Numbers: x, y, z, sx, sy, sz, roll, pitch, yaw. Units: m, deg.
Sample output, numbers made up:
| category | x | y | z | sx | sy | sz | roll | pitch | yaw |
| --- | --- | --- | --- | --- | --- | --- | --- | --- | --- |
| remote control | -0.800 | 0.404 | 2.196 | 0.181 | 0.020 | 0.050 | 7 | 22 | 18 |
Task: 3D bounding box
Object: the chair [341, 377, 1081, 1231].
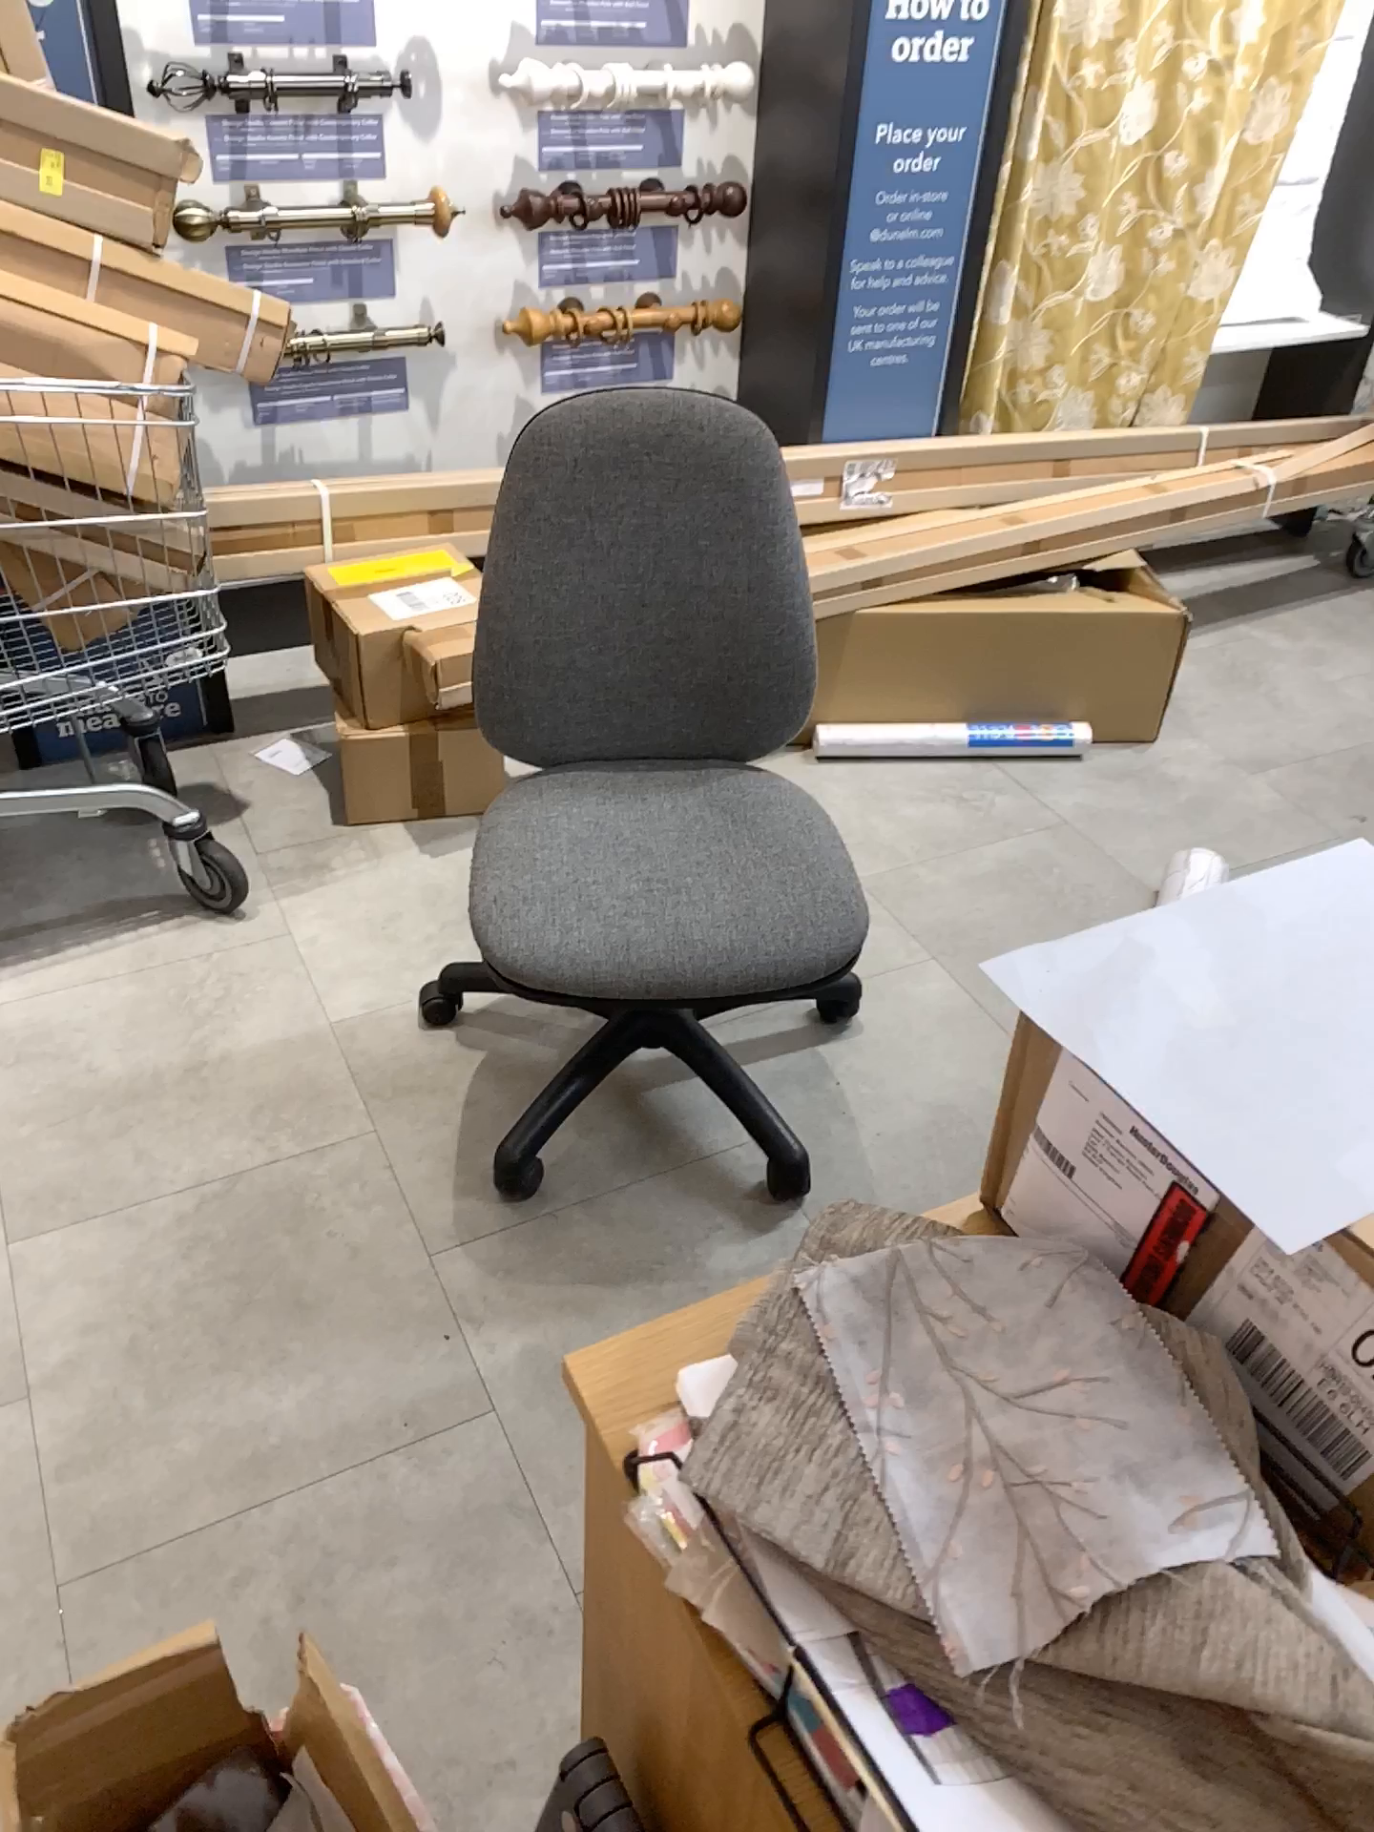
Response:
| category | x | y | z | sx | sy | sz | roll | pitch | yaw |
| --- | --- | --- | --- | --- | --- | --- | --- | --- | --- |
| chair | -0.030 | -0.147 | 1.639 | 0.627 | 0.749 | 0.630 | -2 | 38 | -8 |
